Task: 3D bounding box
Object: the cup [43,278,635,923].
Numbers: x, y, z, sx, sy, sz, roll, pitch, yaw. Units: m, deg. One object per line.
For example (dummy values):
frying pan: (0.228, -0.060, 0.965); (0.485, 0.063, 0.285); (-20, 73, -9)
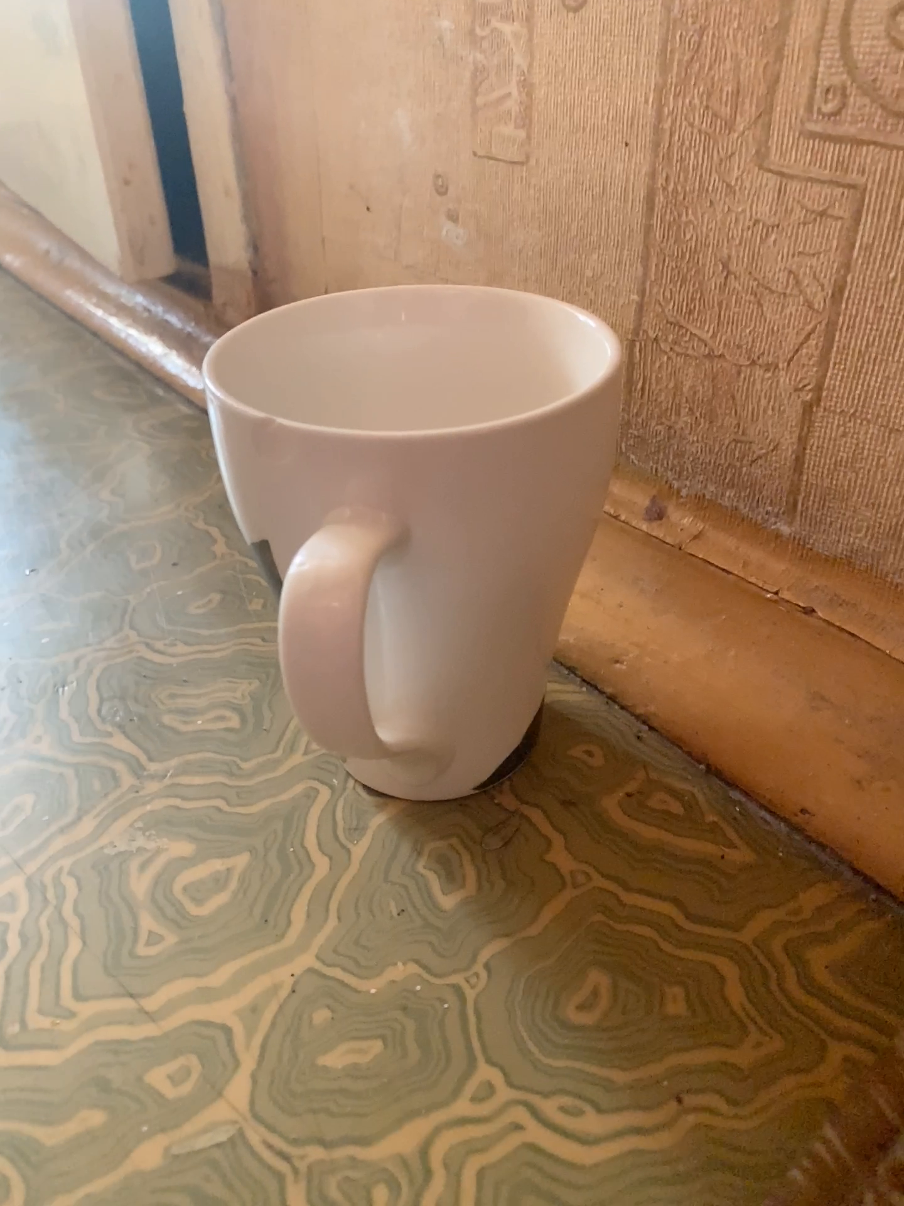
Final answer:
cup: (-0.012, -0.010, 0.222); (0.093, 0.099, 0.119); (2, 34, 6)
